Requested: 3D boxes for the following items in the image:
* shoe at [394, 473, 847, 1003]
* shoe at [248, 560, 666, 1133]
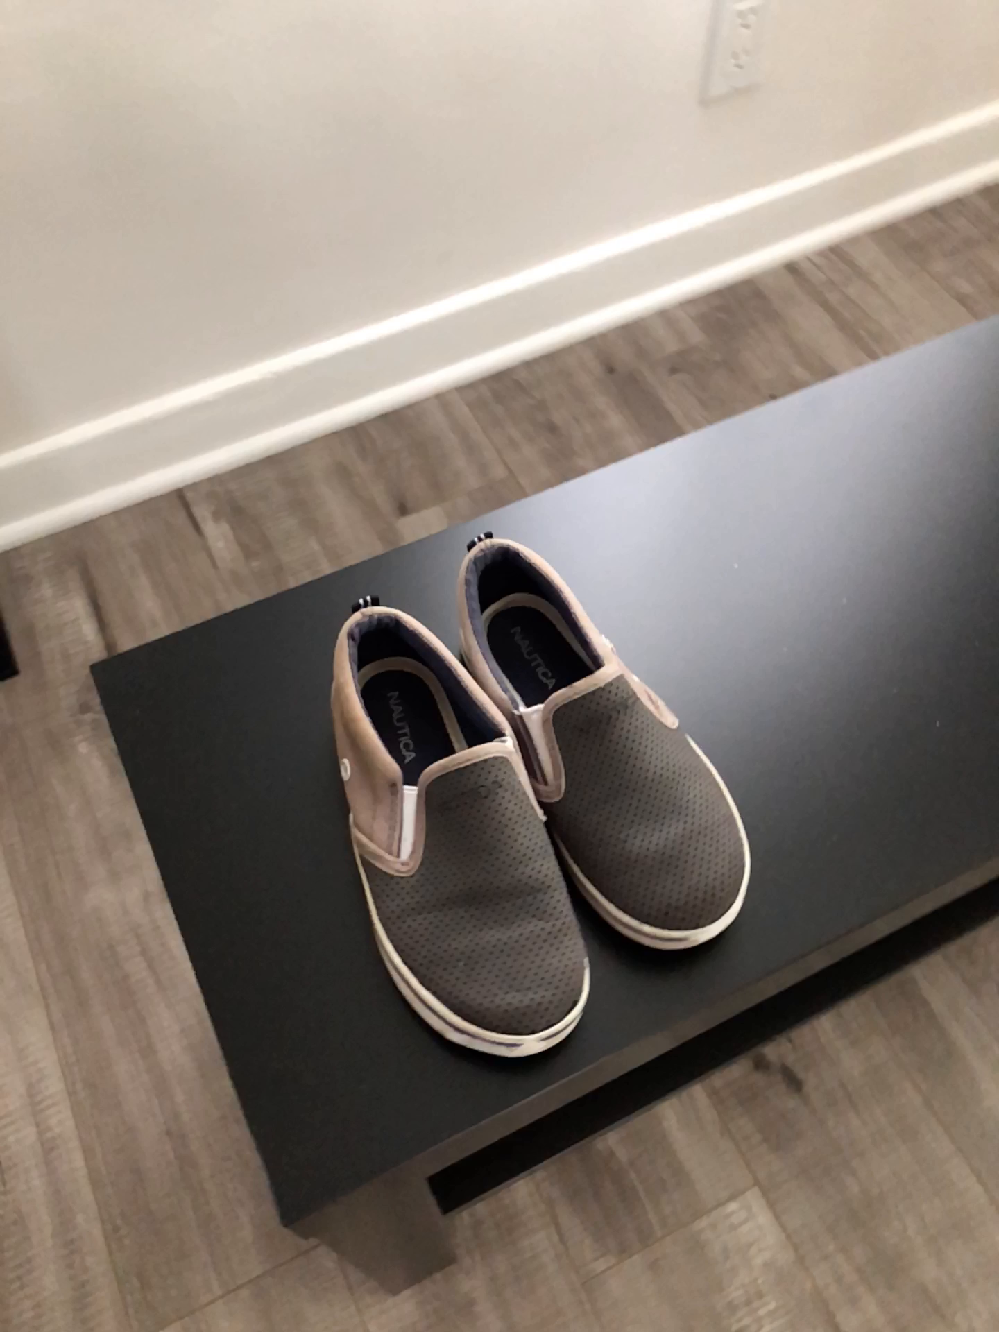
[{"bbox_3d":[0.039,0.023,0.444,0.077,0.070,0.190,-26,62,-15],"label":"shoe"},{"bbox_3d":[-0.022,0.063,0.423,0.077,0.070,0.190,-22,61,-13],"label":"shoe"}]
